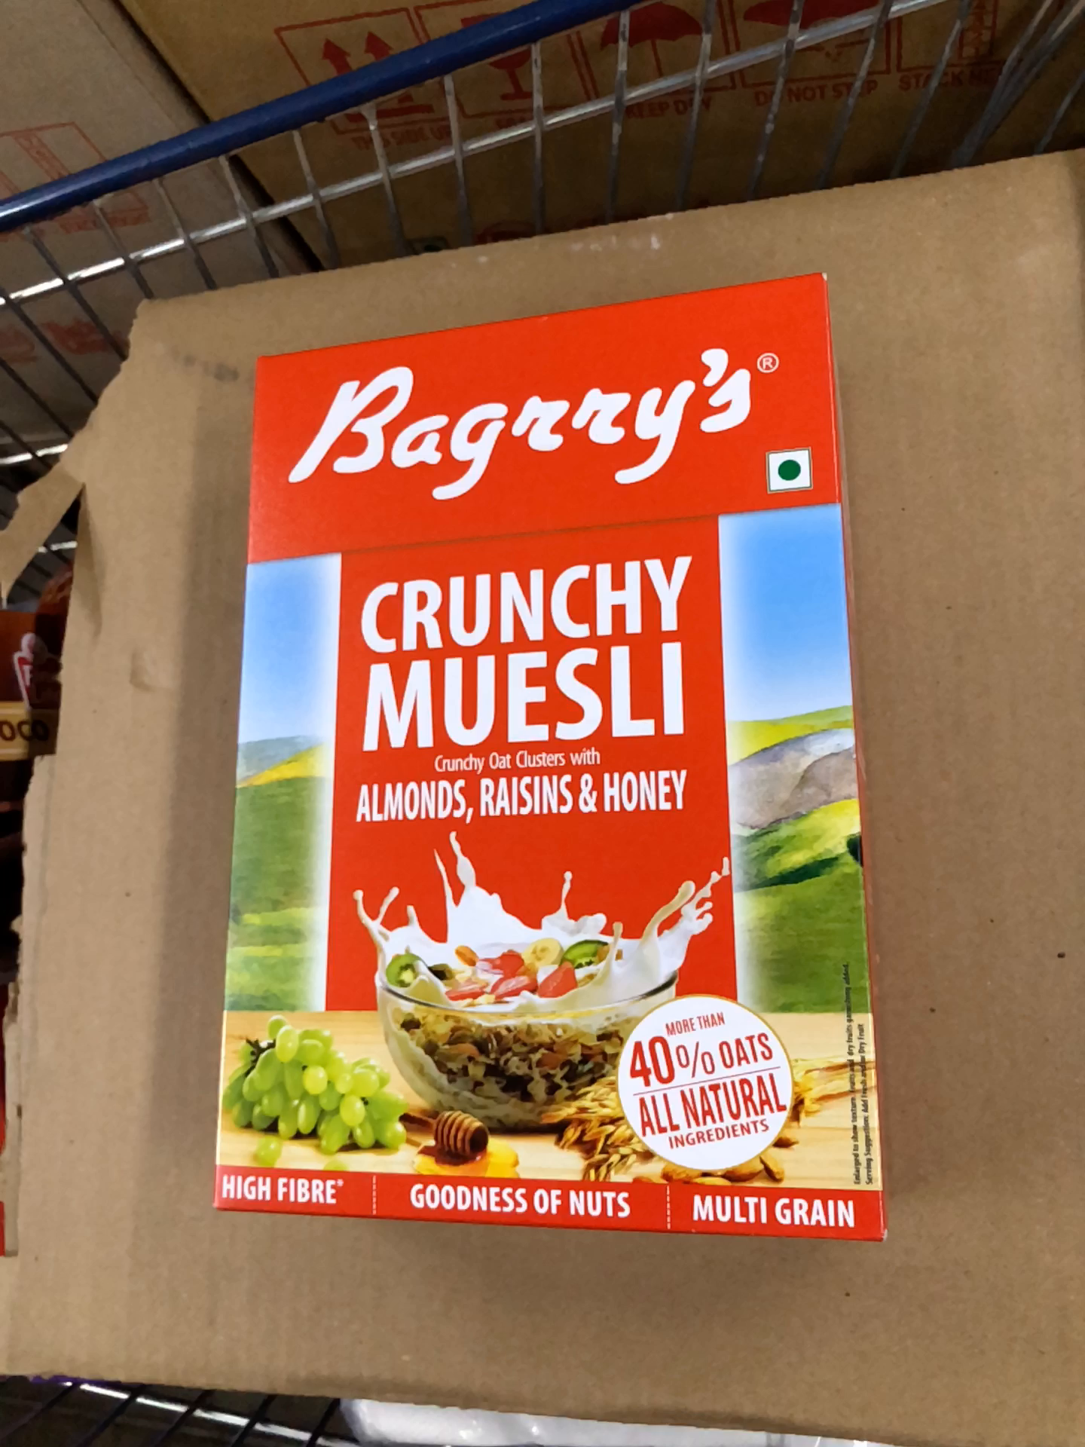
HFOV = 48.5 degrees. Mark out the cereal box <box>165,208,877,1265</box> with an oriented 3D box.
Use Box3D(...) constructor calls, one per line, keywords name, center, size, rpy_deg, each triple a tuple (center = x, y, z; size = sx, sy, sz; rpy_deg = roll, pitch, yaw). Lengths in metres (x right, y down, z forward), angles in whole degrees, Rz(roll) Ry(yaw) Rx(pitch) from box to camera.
Box3D(name="cereal box", center=(-0.005, 0.004, 0.350), size=(0.180, 0.070, 0.260), rpy_deg=(-4, 79, 16))
